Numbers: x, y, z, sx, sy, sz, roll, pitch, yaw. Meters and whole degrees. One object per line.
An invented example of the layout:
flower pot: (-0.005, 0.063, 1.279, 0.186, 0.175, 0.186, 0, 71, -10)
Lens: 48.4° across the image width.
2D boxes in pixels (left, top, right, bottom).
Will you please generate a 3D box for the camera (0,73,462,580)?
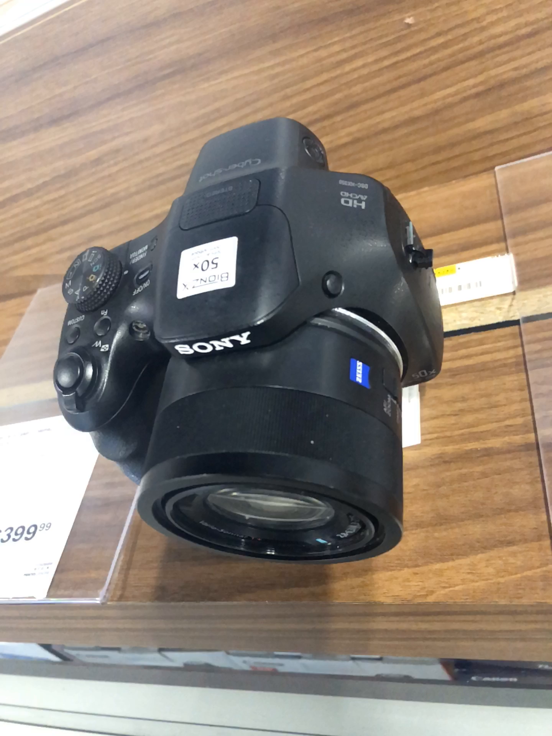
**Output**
camera: (-0.017, -0.005, 0.191, 0.125, 0.084, 0.110, -9, 46, 25)
